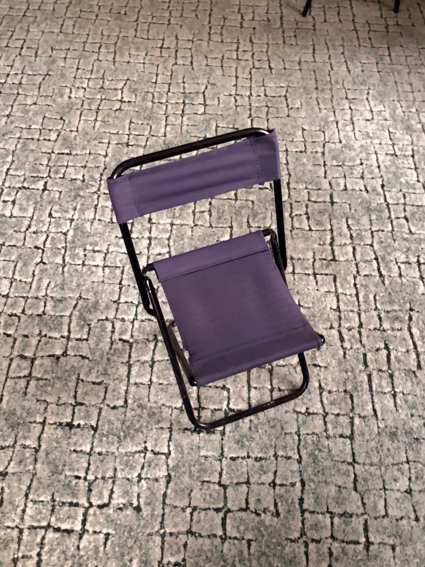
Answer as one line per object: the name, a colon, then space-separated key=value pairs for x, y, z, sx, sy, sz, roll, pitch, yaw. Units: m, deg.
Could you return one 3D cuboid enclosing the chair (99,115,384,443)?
chair: x=0.026 y=0.027 z=0.992 sx=0.342 sy=0.537 sz=0.400 roll=-18 pitch=61 yaw=-10
